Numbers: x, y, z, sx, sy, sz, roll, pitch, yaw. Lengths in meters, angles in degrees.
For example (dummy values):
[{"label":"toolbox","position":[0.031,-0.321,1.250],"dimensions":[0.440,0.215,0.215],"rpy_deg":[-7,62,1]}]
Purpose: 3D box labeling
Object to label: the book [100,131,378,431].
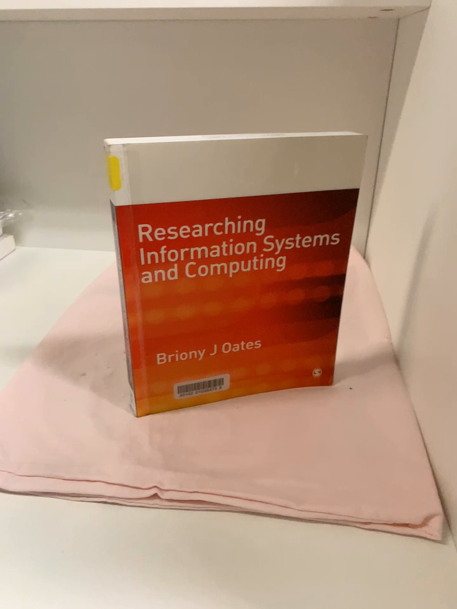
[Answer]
[{"label":"book","position":[0.010,-0.014,0.393],"dimensions":[0.201,0.238,0.026],"rpy_deg":[-8,29,-16]}]
